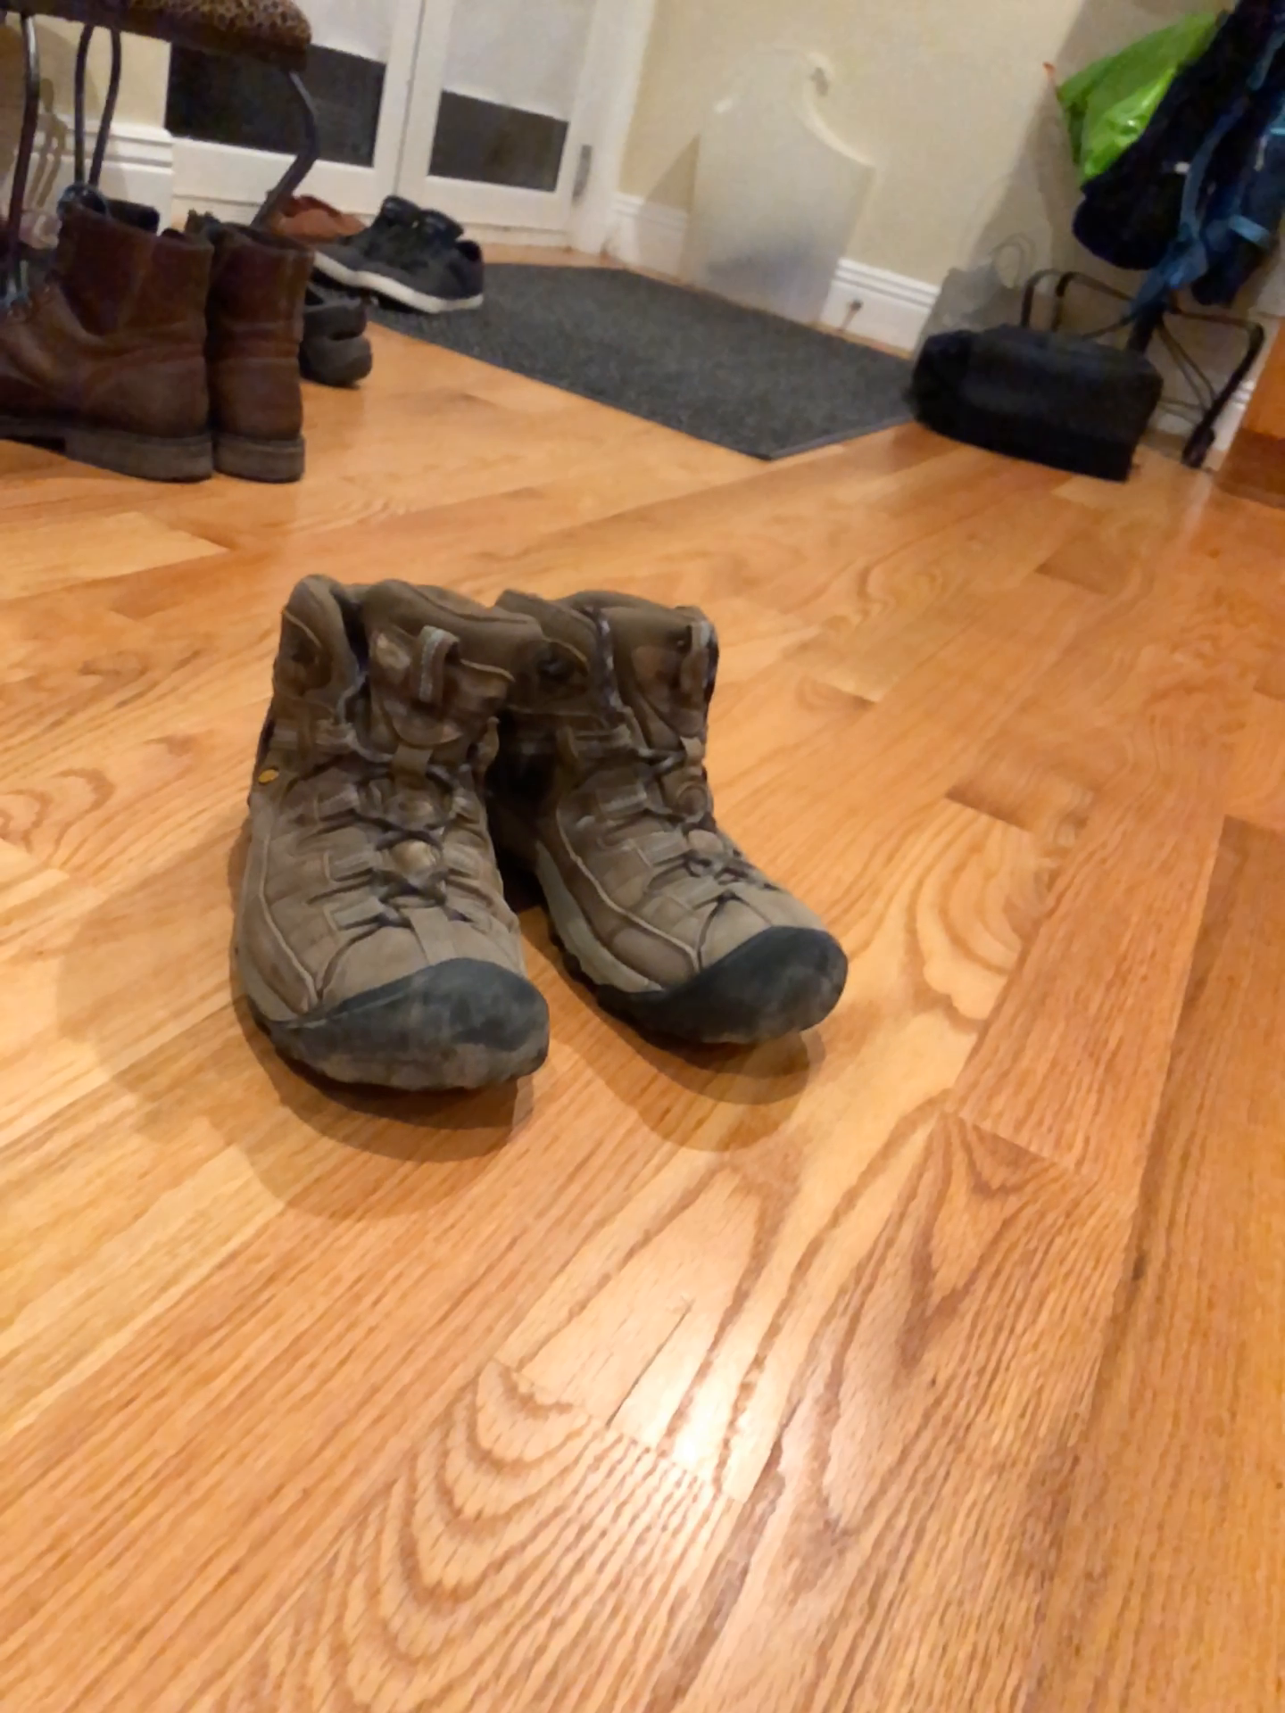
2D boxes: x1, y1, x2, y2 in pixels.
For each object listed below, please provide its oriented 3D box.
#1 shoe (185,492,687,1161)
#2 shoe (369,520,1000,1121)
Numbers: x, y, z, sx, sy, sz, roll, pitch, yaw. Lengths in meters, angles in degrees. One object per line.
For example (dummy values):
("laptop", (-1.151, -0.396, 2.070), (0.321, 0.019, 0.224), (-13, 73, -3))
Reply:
("shoe", (-0.099, -0.027, 0.548), (0.107, 0.139, 0.260), (2, 29, -26))
("shoe", (0.000, -0.032, 0.614), (0.108, 0.139, 0.260), (-7, 34, -39))
